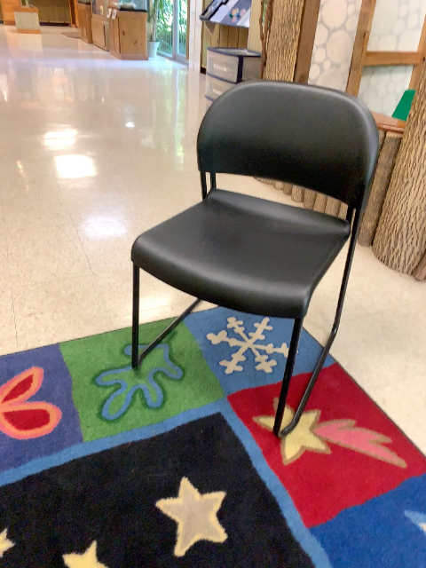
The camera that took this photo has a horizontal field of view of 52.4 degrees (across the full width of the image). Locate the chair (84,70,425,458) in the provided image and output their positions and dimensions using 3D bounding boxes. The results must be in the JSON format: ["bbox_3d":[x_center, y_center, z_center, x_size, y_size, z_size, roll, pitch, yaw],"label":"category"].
[{"bbox_3d":[0.133,-0.130,1.198,0.611,0.736,0.632,20,35,24],"label":"chair"}]
